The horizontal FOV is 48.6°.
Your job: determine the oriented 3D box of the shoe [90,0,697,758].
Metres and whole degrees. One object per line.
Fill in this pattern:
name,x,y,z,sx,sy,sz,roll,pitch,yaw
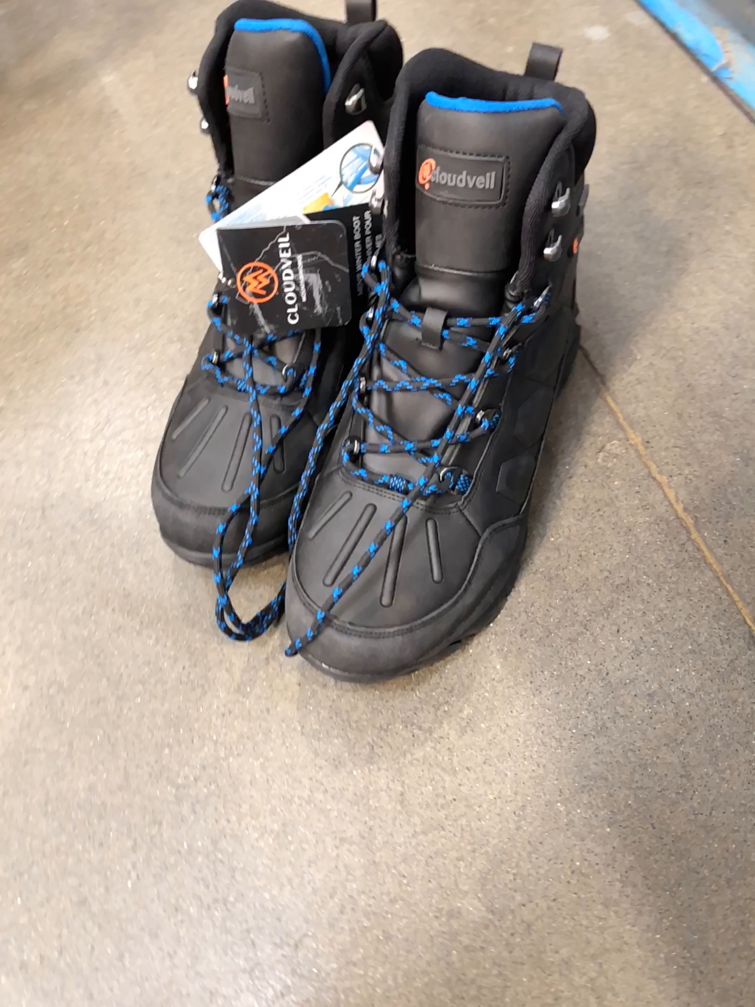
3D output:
shoe,0.033,-0.059,0.421,0.120,0.210,0.300,21,67,18

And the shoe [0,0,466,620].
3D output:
shoe,-0.058,-0.124,0.470,0.120,0.210,0.300,16,65,16
